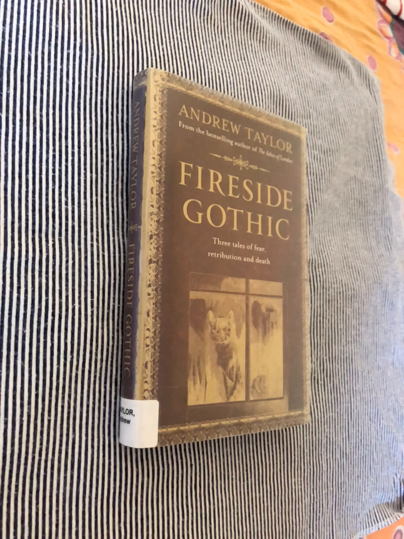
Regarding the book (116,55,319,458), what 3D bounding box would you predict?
[{"bbox_3d":[0.017,-0.006,0.292,0.140,0.027,0.217,6,80,-37],"label":"book"}]
